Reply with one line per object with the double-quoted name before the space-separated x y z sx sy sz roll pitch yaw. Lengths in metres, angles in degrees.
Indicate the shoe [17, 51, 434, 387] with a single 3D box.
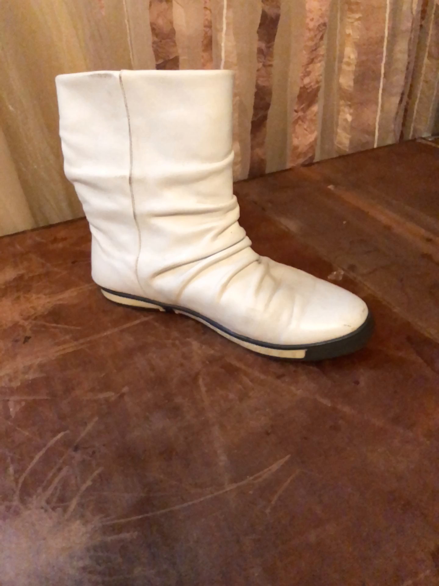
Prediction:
"shoe" -0.001 -0.068 0.346 0.240 0.169 0.100 17 38 28
